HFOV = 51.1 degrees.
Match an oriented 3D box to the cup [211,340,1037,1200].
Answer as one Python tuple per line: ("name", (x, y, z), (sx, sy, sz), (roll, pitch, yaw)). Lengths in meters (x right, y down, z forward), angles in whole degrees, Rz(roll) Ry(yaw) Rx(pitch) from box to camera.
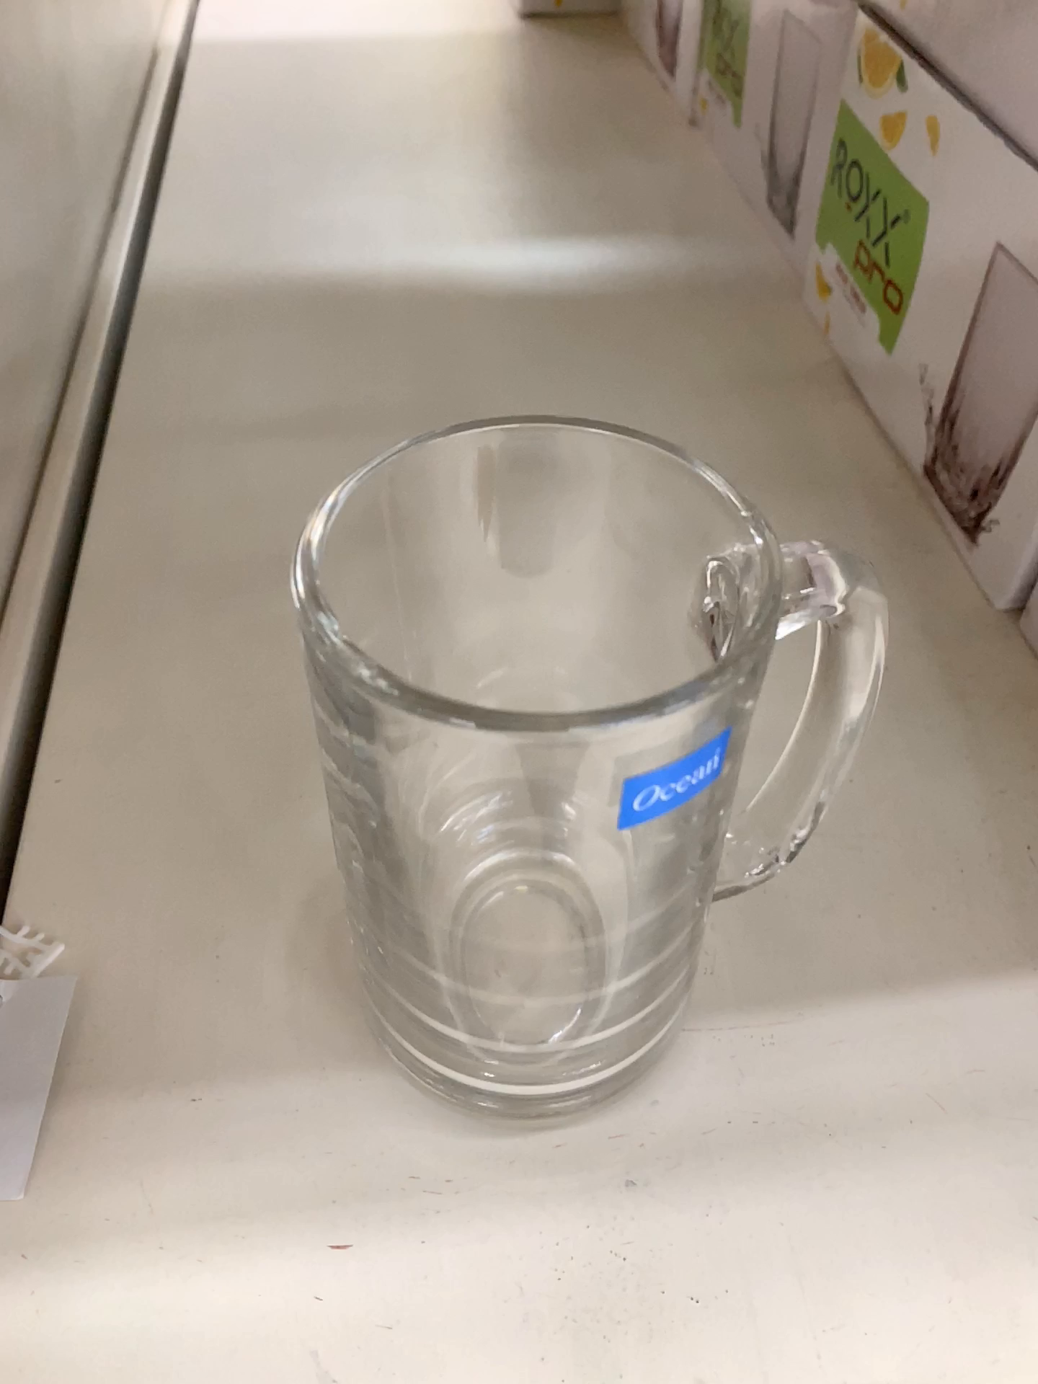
("cup", (0.018, 0.019, 0.211), (0.120, 0.129, 0.081), (-12, 48, -11))
